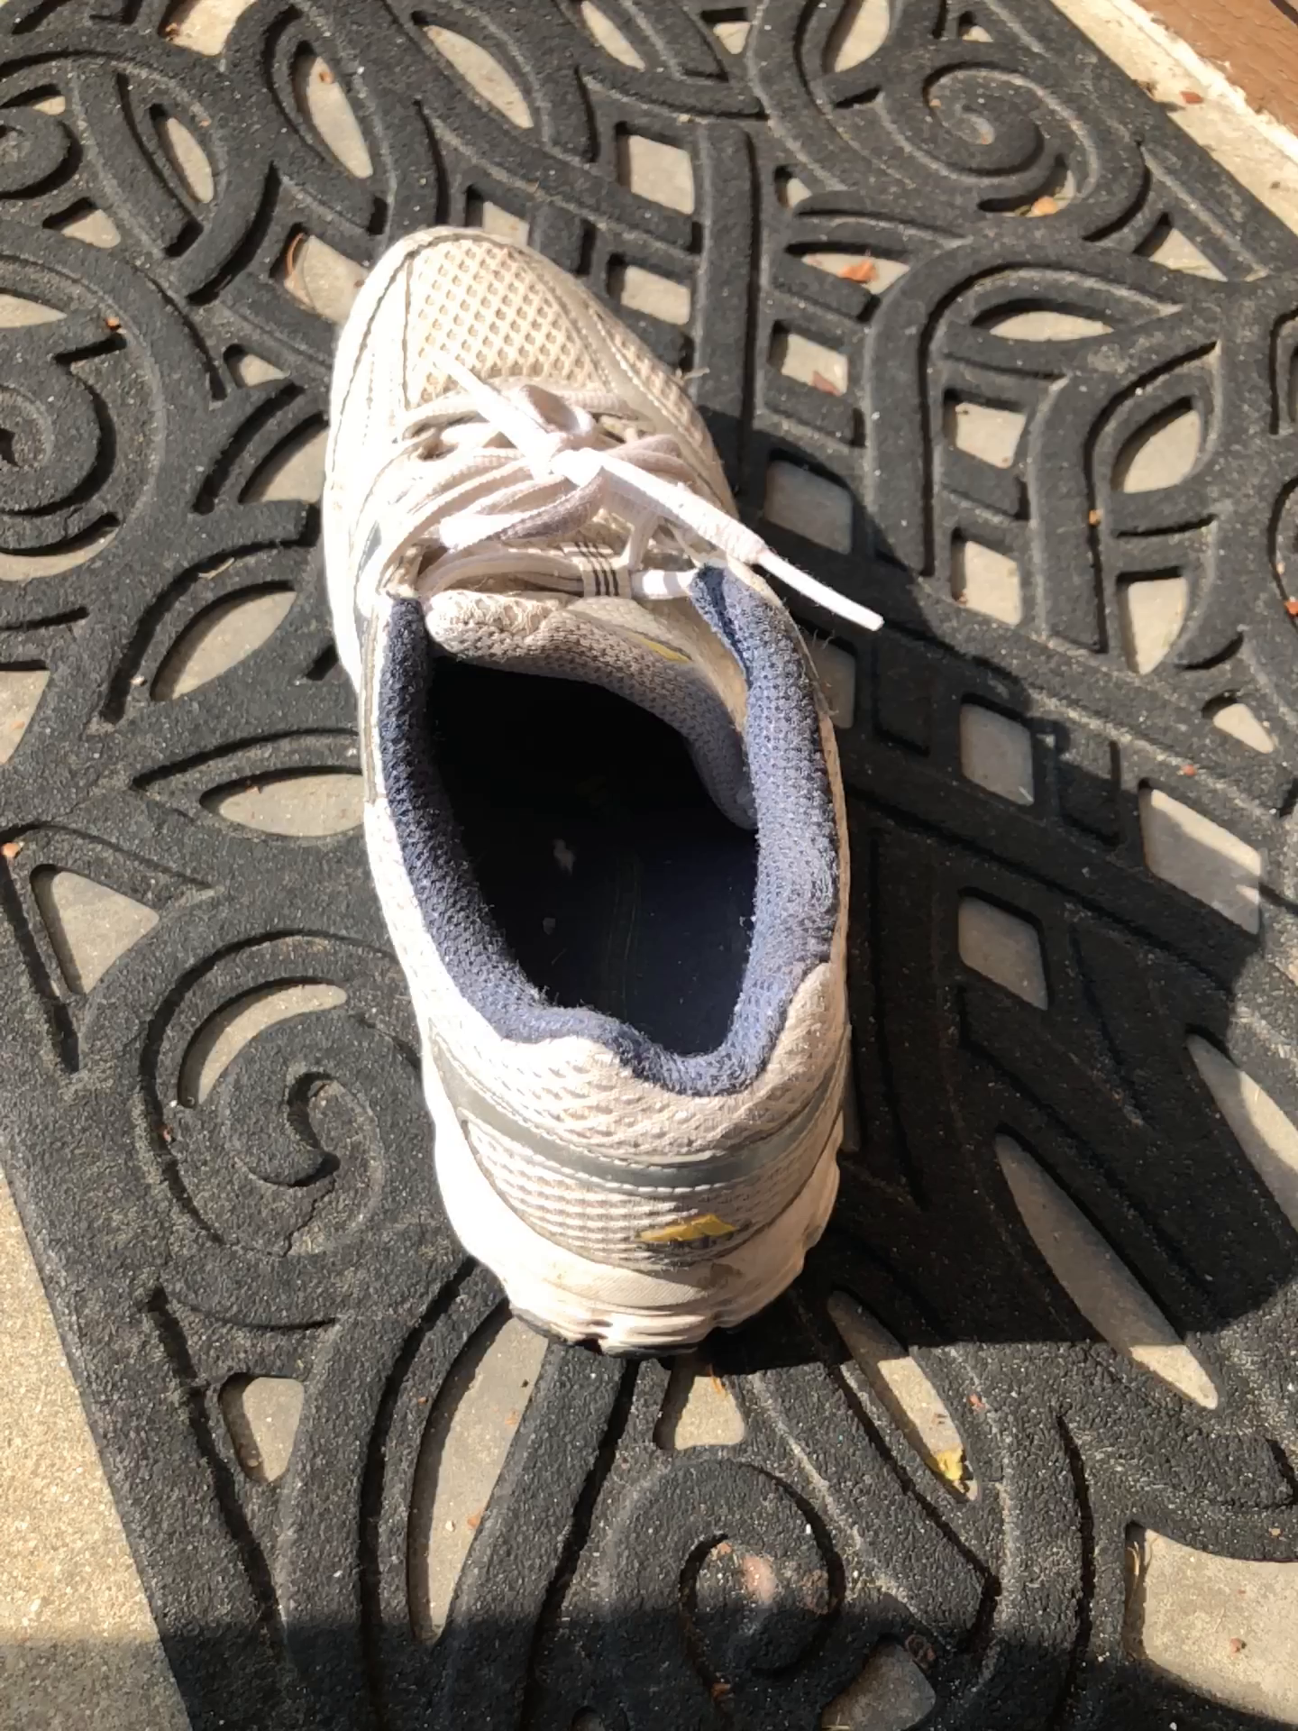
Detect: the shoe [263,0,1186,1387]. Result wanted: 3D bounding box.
[{"bbox_3d":[-0.007,-0.046,0.300,0.100,0.130,0.260,-9,62,-7],"label":"shoe"}]
